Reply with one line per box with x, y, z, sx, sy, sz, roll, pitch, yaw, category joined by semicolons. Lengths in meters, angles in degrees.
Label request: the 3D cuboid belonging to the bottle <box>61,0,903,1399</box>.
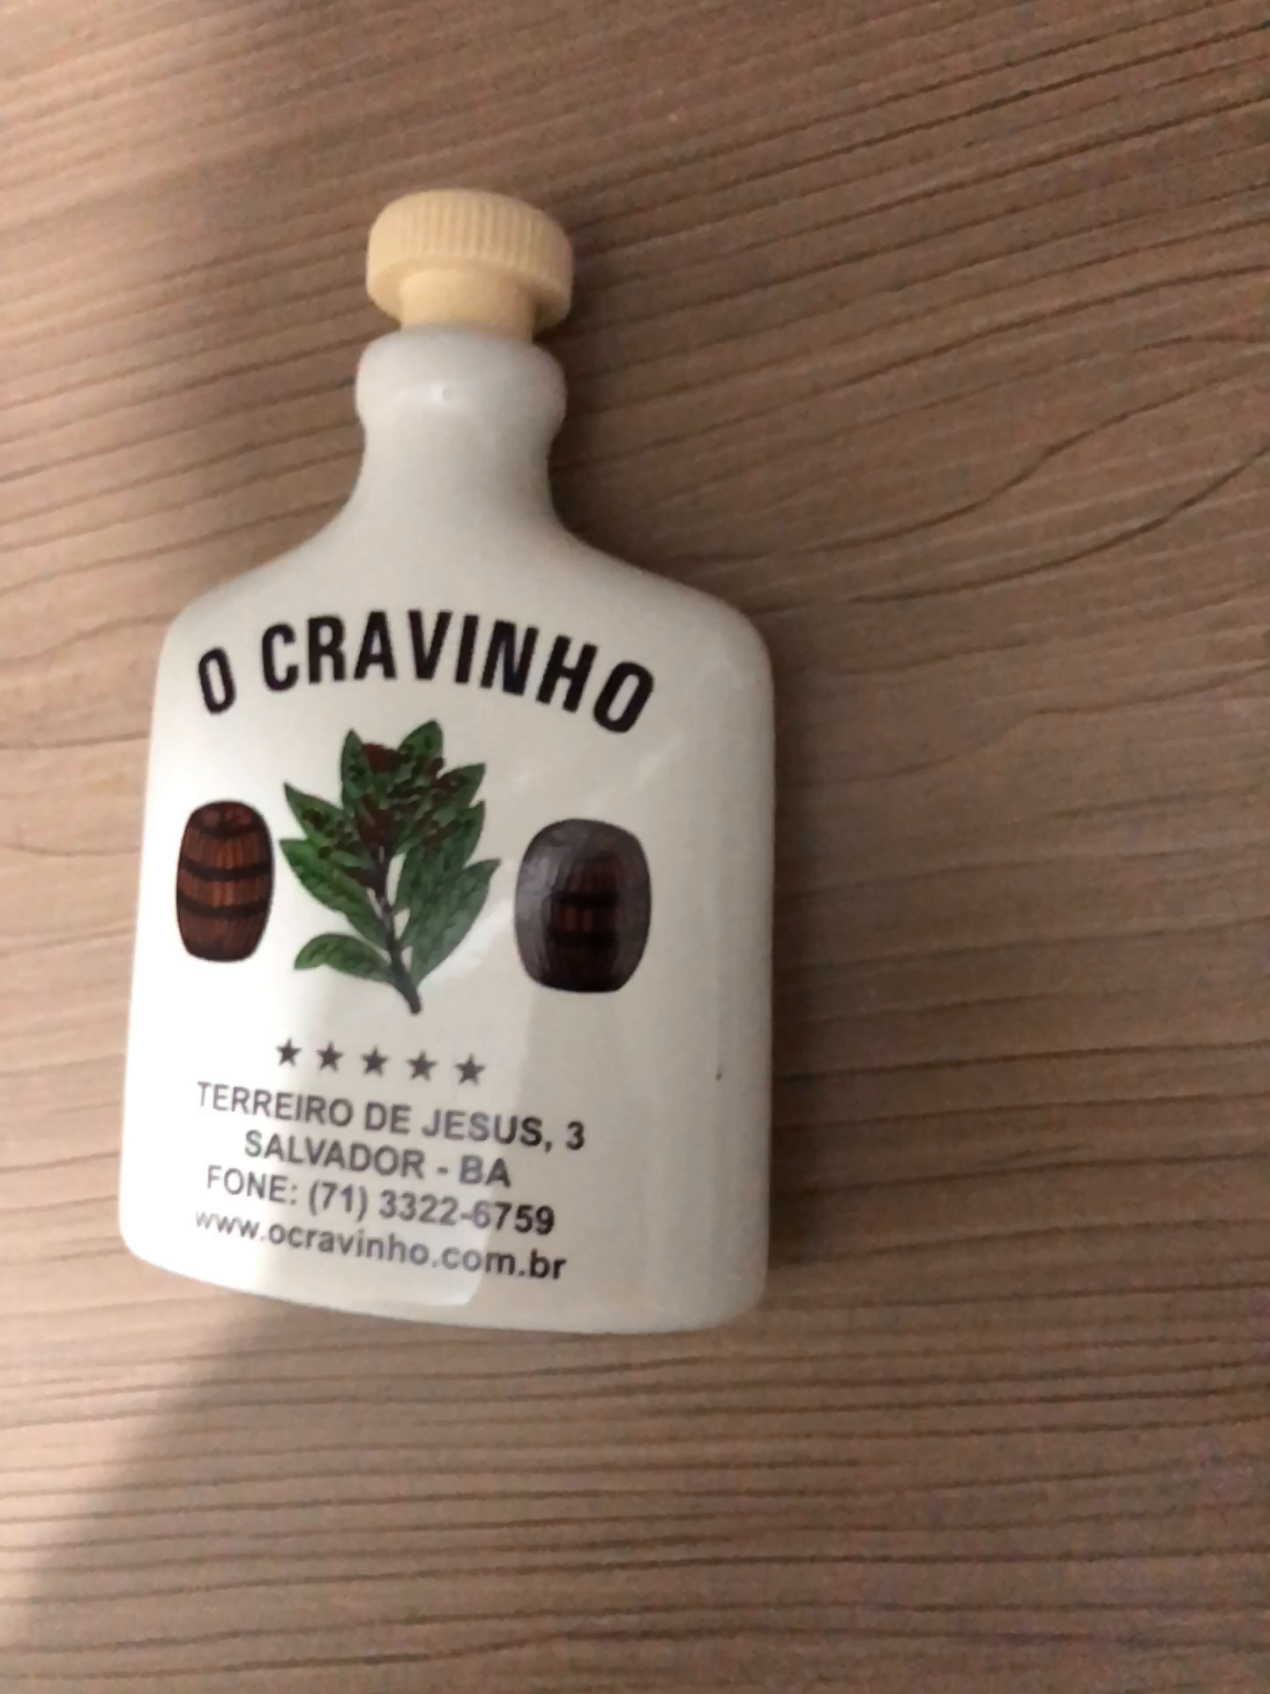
-0.019;-0.019;0.195;0.100;0.040;0.160;2;90;15;bottle
